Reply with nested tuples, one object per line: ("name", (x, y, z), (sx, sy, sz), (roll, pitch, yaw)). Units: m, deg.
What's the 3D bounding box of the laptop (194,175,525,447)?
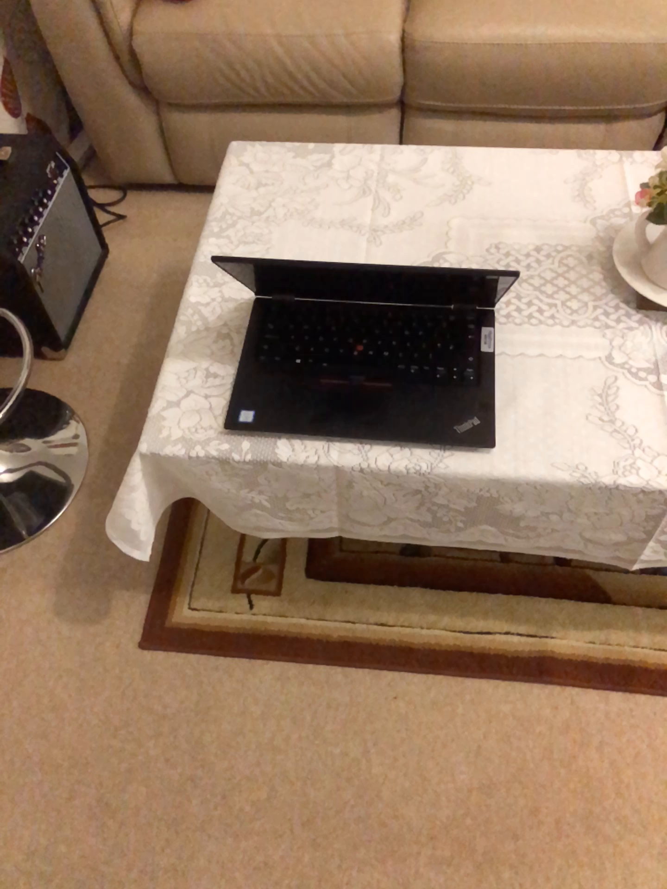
("laptop", (0.036, -0.149, 0.806), (0.309, 0.174, 0.221), (4, 57, 7))
